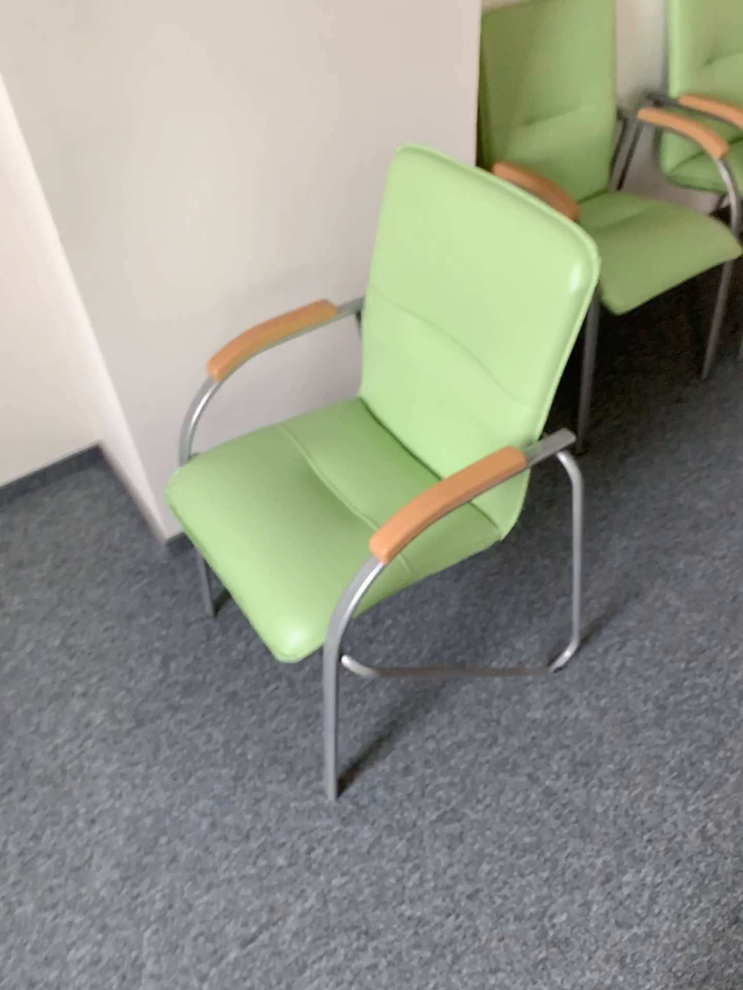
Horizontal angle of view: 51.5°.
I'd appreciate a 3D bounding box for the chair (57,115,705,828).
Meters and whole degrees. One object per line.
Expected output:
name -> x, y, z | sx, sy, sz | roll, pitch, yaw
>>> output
chair -> 0.002, -0.036, 1.336 | 0.621, 0.876, 0.622 | -27, 50, -21
